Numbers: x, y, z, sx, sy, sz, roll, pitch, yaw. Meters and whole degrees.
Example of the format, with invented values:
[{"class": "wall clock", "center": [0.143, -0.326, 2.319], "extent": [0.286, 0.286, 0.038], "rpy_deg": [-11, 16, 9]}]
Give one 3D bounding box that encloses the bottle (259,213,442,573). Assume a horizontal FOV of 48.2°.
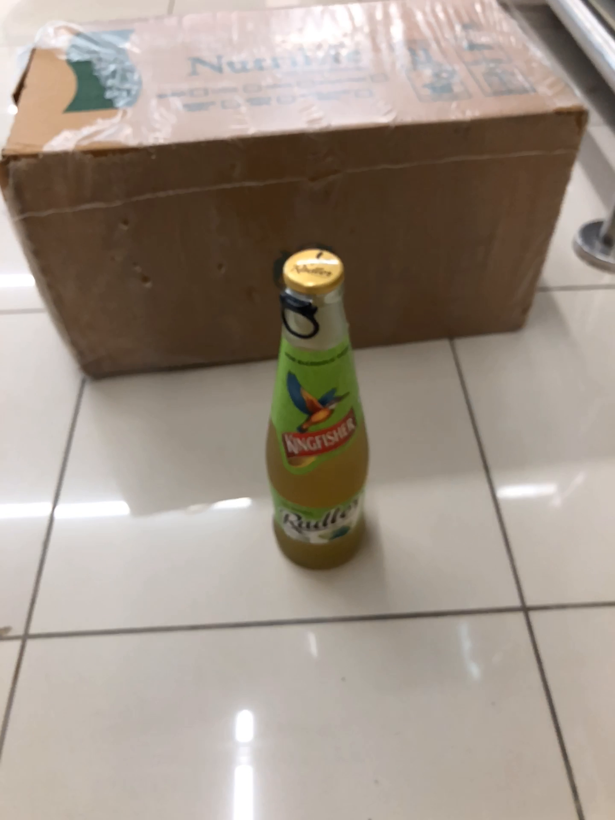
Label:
[{"class": "bottle", "center": [0.017, 0.006, 0.363], "extent": [0.070, 0.209, 0.060], "rpy_deg": [-3, 48, -2]}]
